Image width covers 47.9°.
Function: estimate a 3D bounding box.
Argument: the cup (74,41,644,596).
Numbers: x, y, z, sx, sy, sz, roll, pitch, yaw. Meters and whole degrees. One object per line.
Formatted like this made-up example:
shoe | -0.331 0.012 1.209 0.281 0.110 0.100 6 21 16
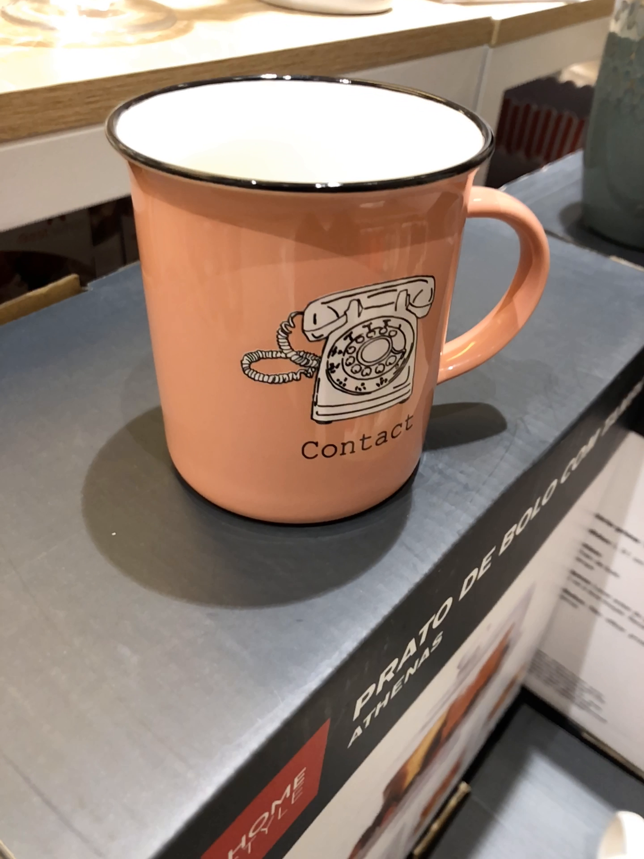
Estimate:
cup | 0.010 -0.035 0.176 0.110 0.089 0.080 -13 43 -22
